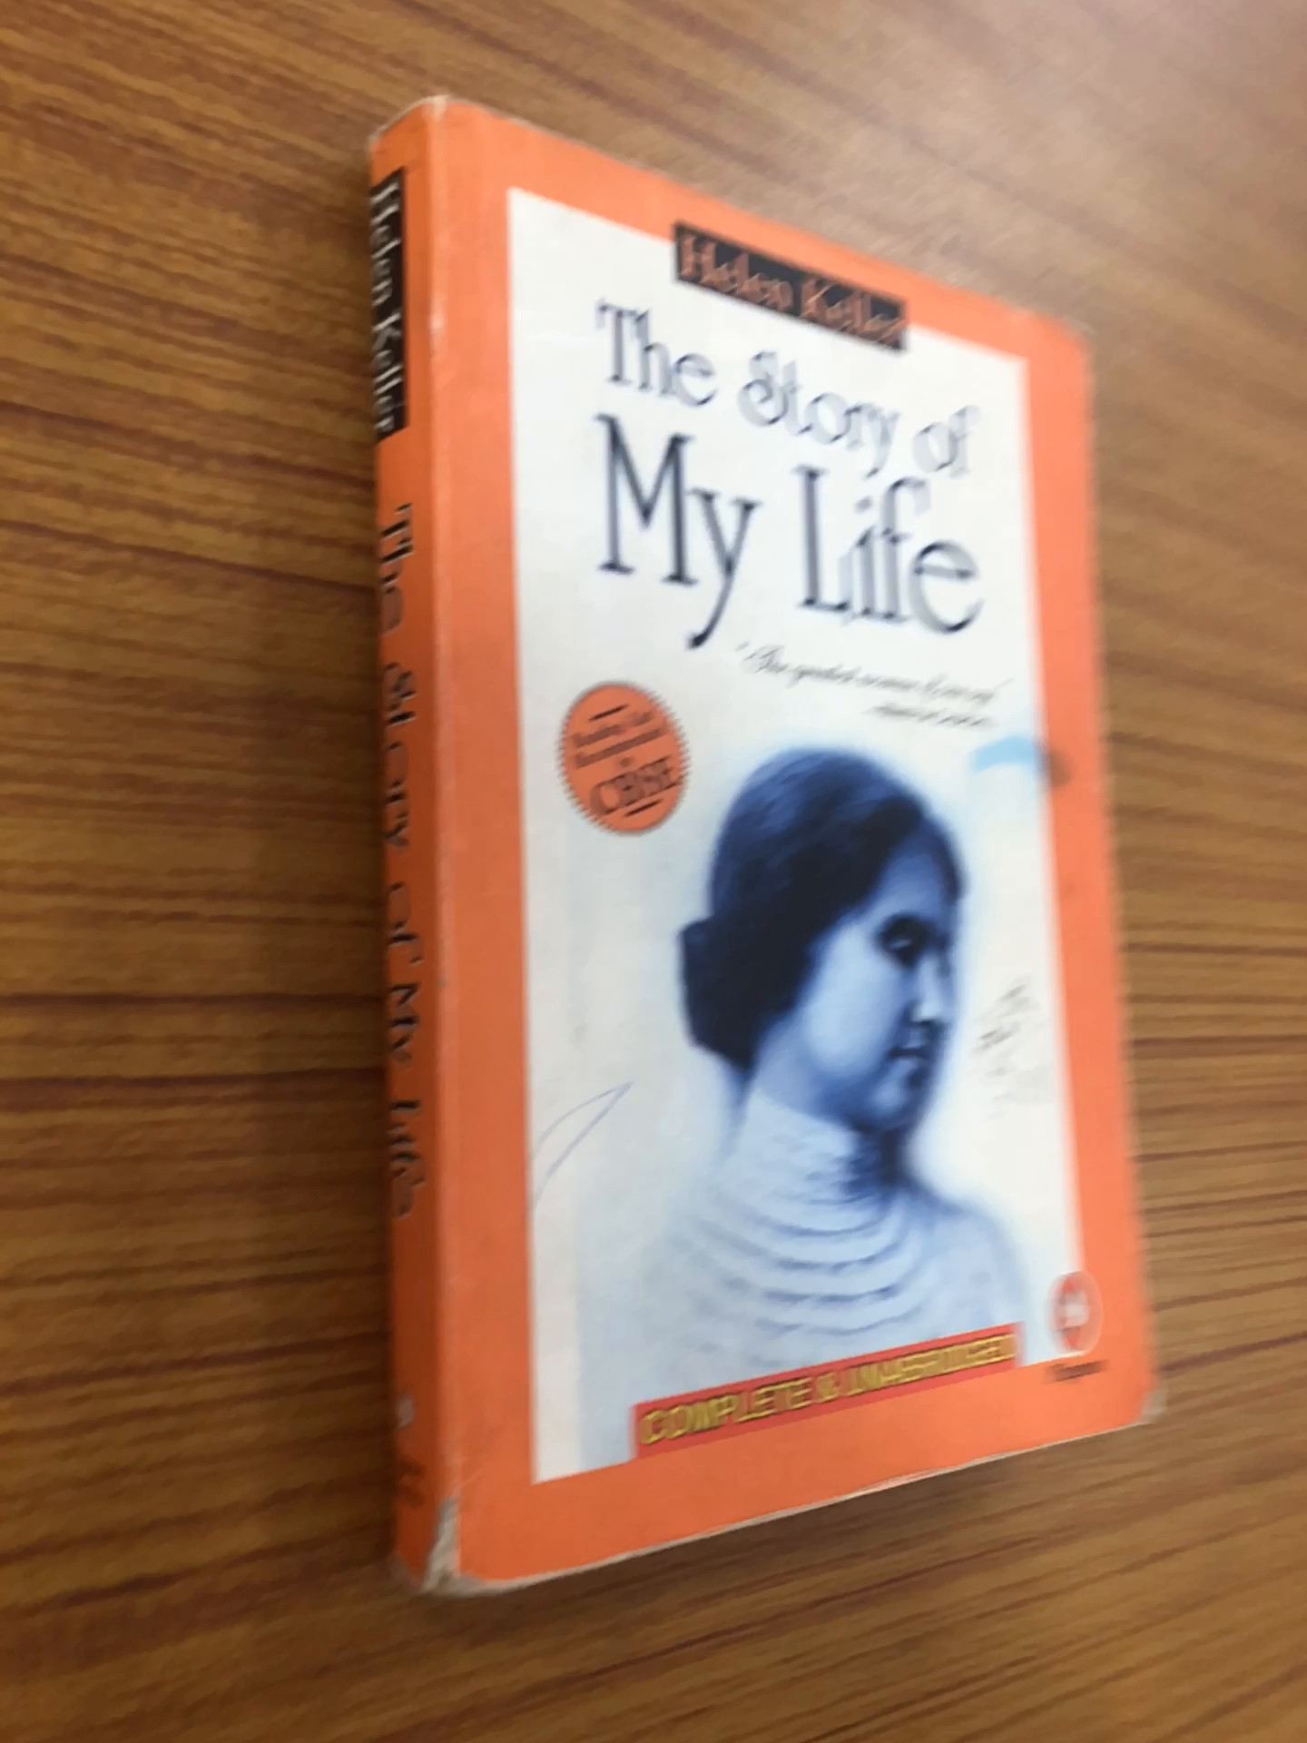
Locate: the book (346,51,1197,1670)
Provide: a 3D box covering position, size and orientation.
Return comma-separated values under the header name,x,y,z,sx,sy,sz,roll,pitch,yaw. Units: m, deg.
name,x,y,z,sx,sy,sz,roll,pitch,yaw
book,0.021,-0.002,0.201,0.121,0.030,0.170,2,84,-36
